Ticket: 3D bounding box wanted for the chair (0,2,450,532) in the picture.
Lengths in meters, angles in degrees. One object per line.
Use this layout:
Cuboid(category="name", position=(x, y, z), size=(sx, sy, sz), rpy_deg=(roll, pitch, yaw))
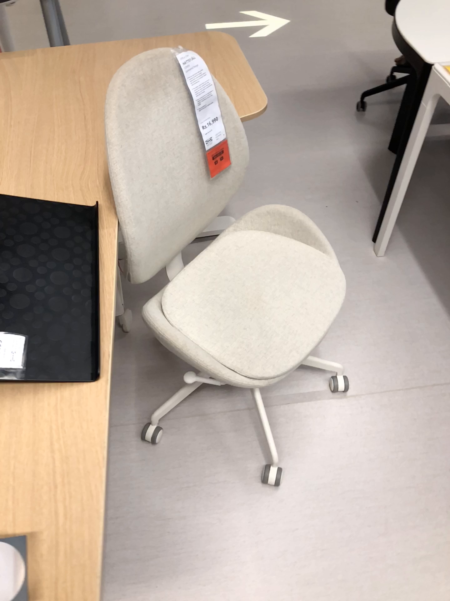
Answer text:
Cuboid(category="chair", position=(0.023, -0.037, 1.247), size=(0.621, 0.994, 0.662), rpy_deg=(28, 55, 22))
